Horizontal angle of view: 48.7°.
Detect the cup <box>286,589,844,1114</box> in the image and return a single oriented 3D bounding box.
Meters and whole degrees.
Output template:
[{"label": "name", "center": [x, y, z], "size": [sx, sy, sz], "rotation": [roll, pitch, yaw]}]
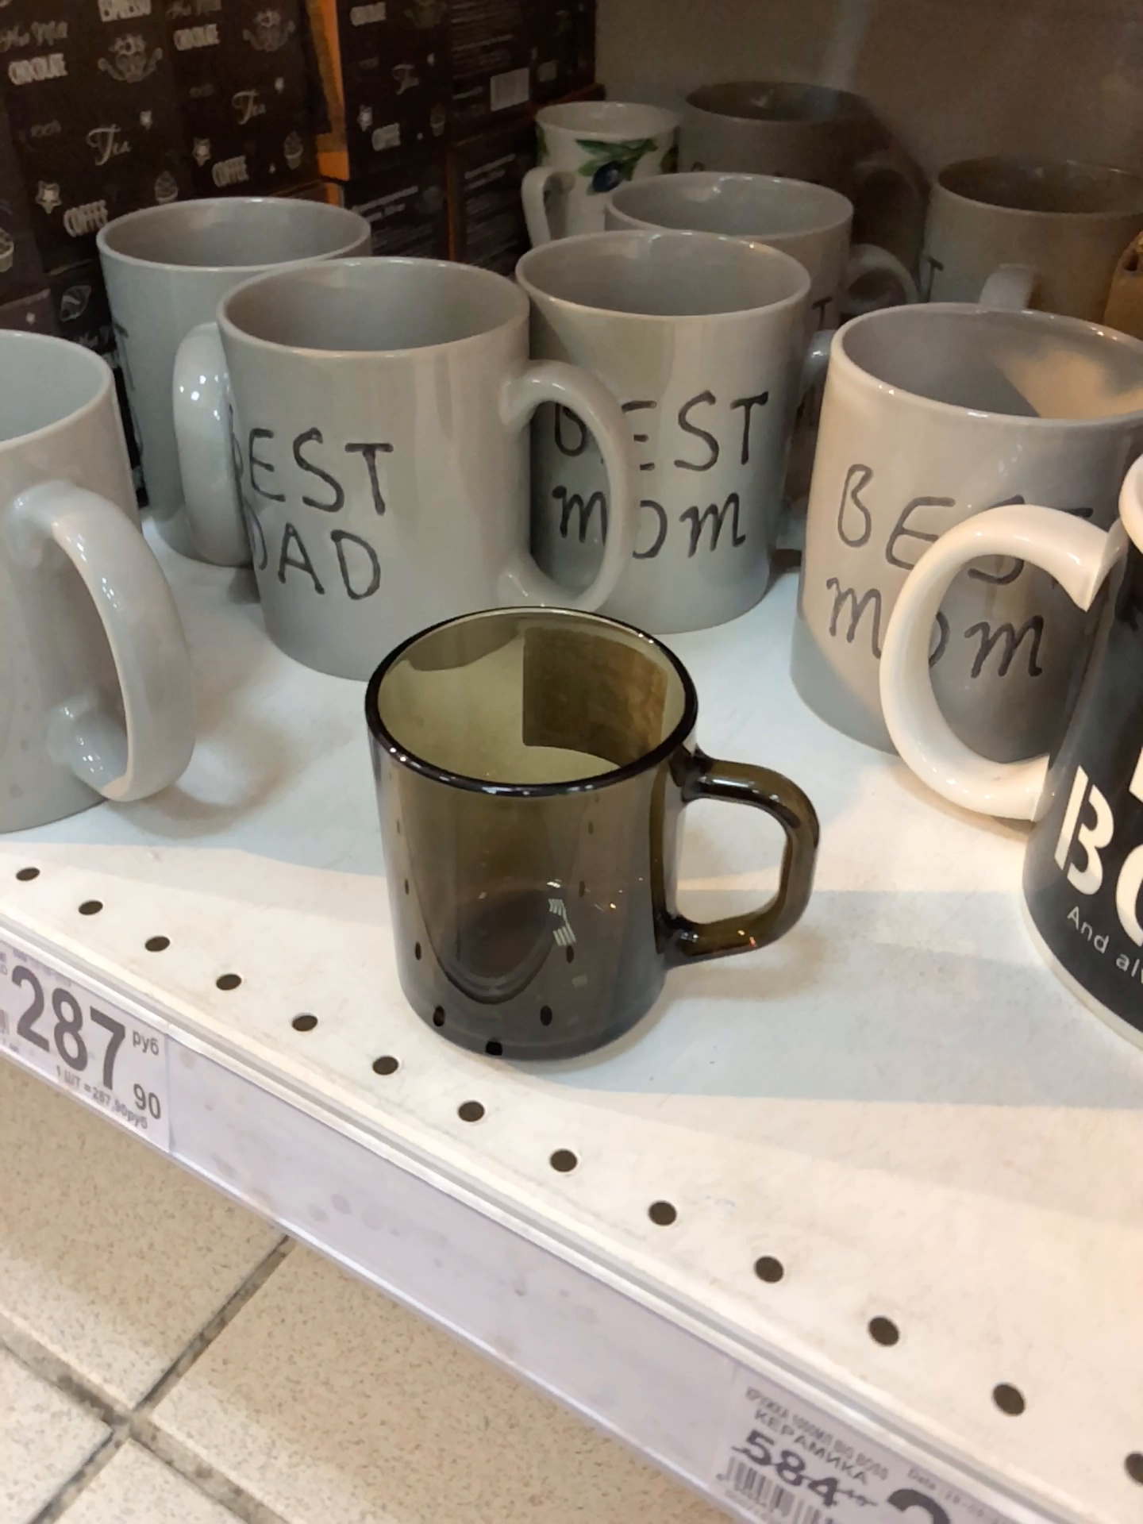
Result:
[{"label": "cup", "center": [0.002, 0.017, 0.290], "size": [0.105, 0.074, 0.082], "rotation": [6, 37, 5]}]
